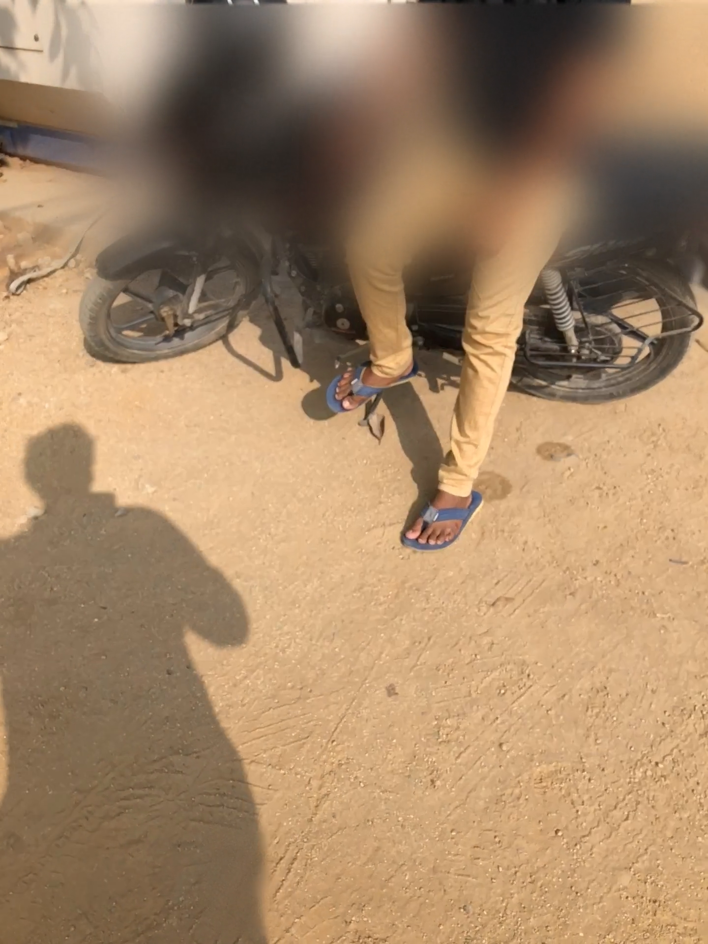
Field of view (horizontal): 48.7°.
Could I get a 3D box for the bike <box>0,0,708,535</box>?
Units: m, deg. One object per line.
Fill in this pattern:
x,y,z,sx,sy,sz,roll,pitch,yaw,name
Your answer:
0.054,-0.618,2.024,1.691,1.214,0.885,2,37,1,bike
